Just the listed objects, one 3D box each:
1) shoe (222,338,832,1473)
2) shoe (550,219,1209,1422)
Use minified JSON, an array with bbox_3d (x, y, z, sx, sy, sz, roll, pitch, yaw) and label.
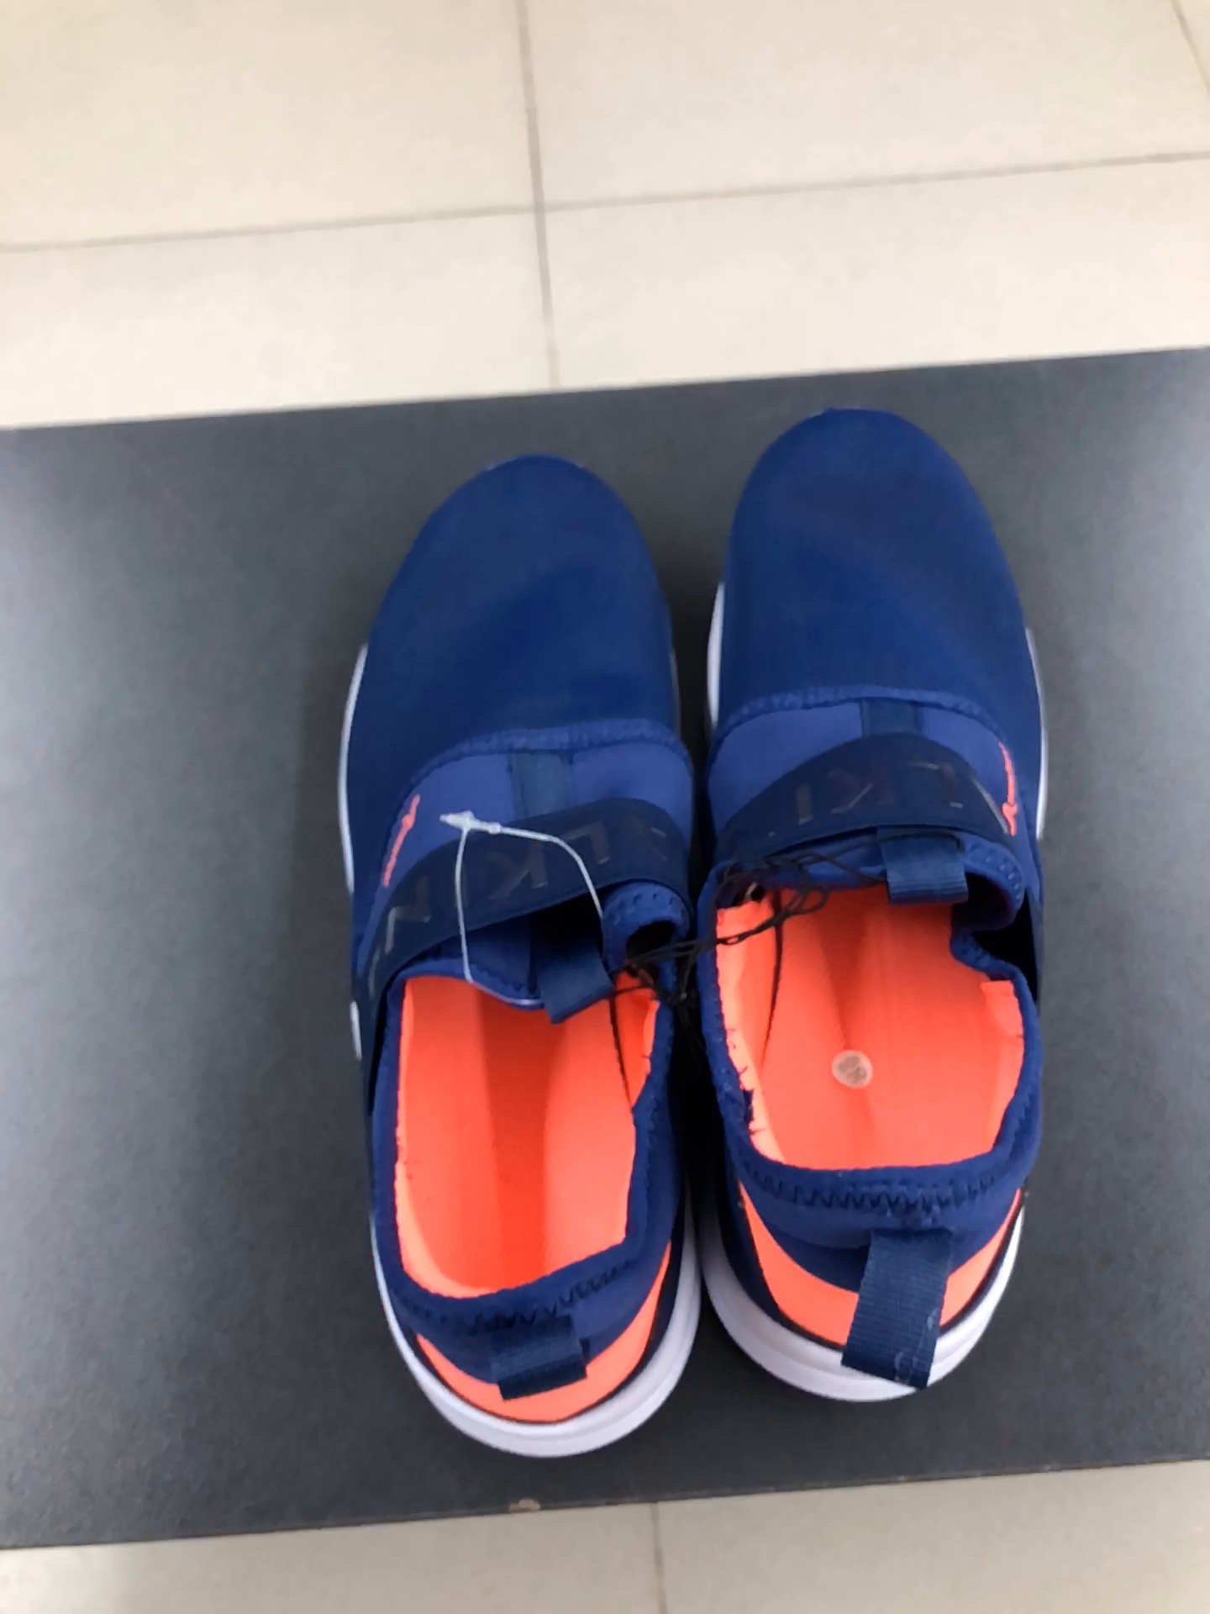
[{"bbox_3d":[-0.018,0.023,0.352,0.110,0.120,0.261,-2,66,0],"label":"shoe"},{"bbox_3d":[0.061,0.005,0.309,0.110,0.120,0.241,0,65,8],"label":"shoe"}]
